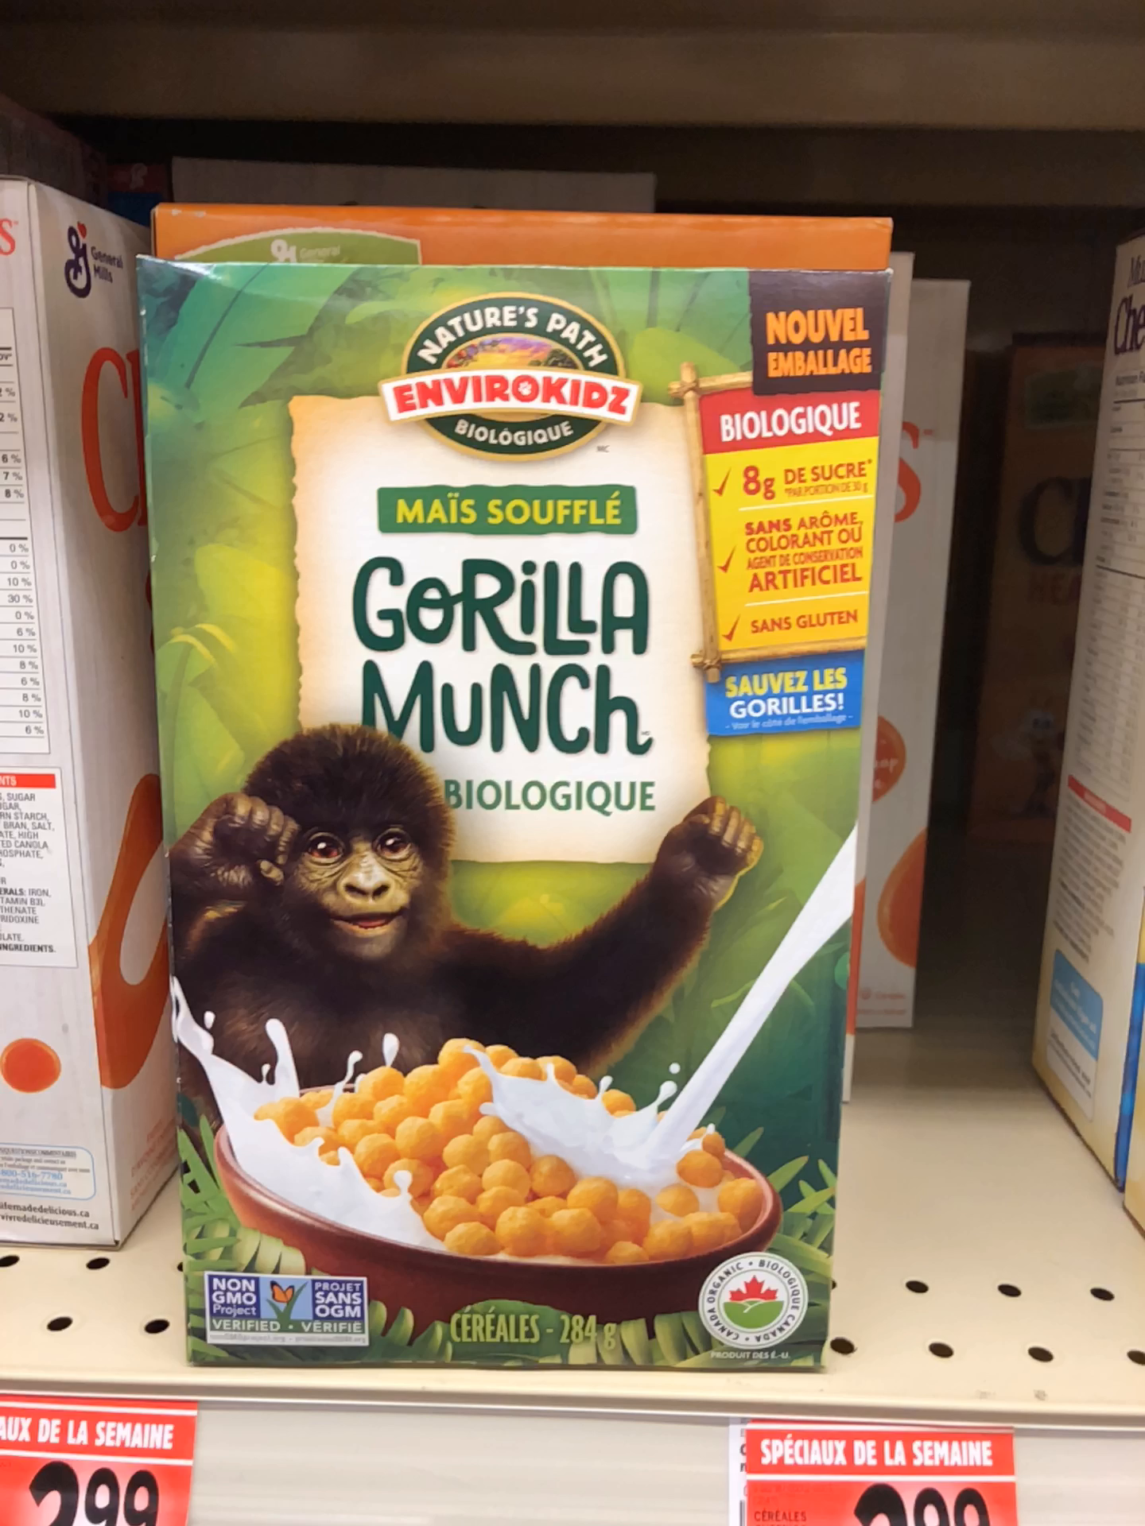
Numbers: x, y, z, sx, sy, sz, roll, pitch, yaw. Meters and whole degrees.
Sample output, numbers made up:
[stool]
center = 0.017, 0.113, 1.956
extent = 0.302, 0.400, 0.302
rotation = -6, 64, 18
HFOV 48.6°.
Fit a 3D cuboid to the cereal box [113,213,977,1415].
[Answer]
[cereal box]
center = -0.007, 0.018, 0.294
extent = 0.160, 0.259, 0.060
rotation = 1, 13, -1
